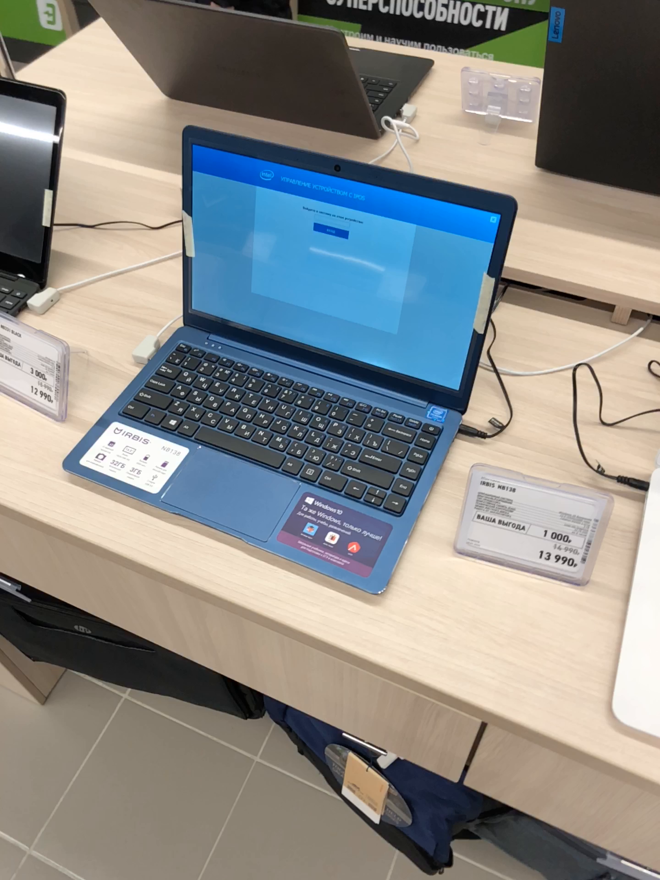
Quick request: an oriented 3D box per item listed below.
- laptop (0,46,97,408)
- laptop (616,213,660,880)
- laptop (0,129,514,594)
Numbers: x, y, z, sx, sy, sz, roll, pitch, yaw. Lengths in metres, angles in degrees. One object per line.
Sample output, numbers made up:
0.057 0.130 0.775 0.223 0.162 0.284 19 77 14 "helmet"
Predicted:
-0.490 -0.247 0.779 0.301 0.155 0.328 18 54 15 "laptop"
0.395 0.060 0.455 0.310 0.218 0.289 17 54 16 "laptop"
-0.044 -0.083 0.623 0.309 0.185 0.271 19 54 17 "laptop"
